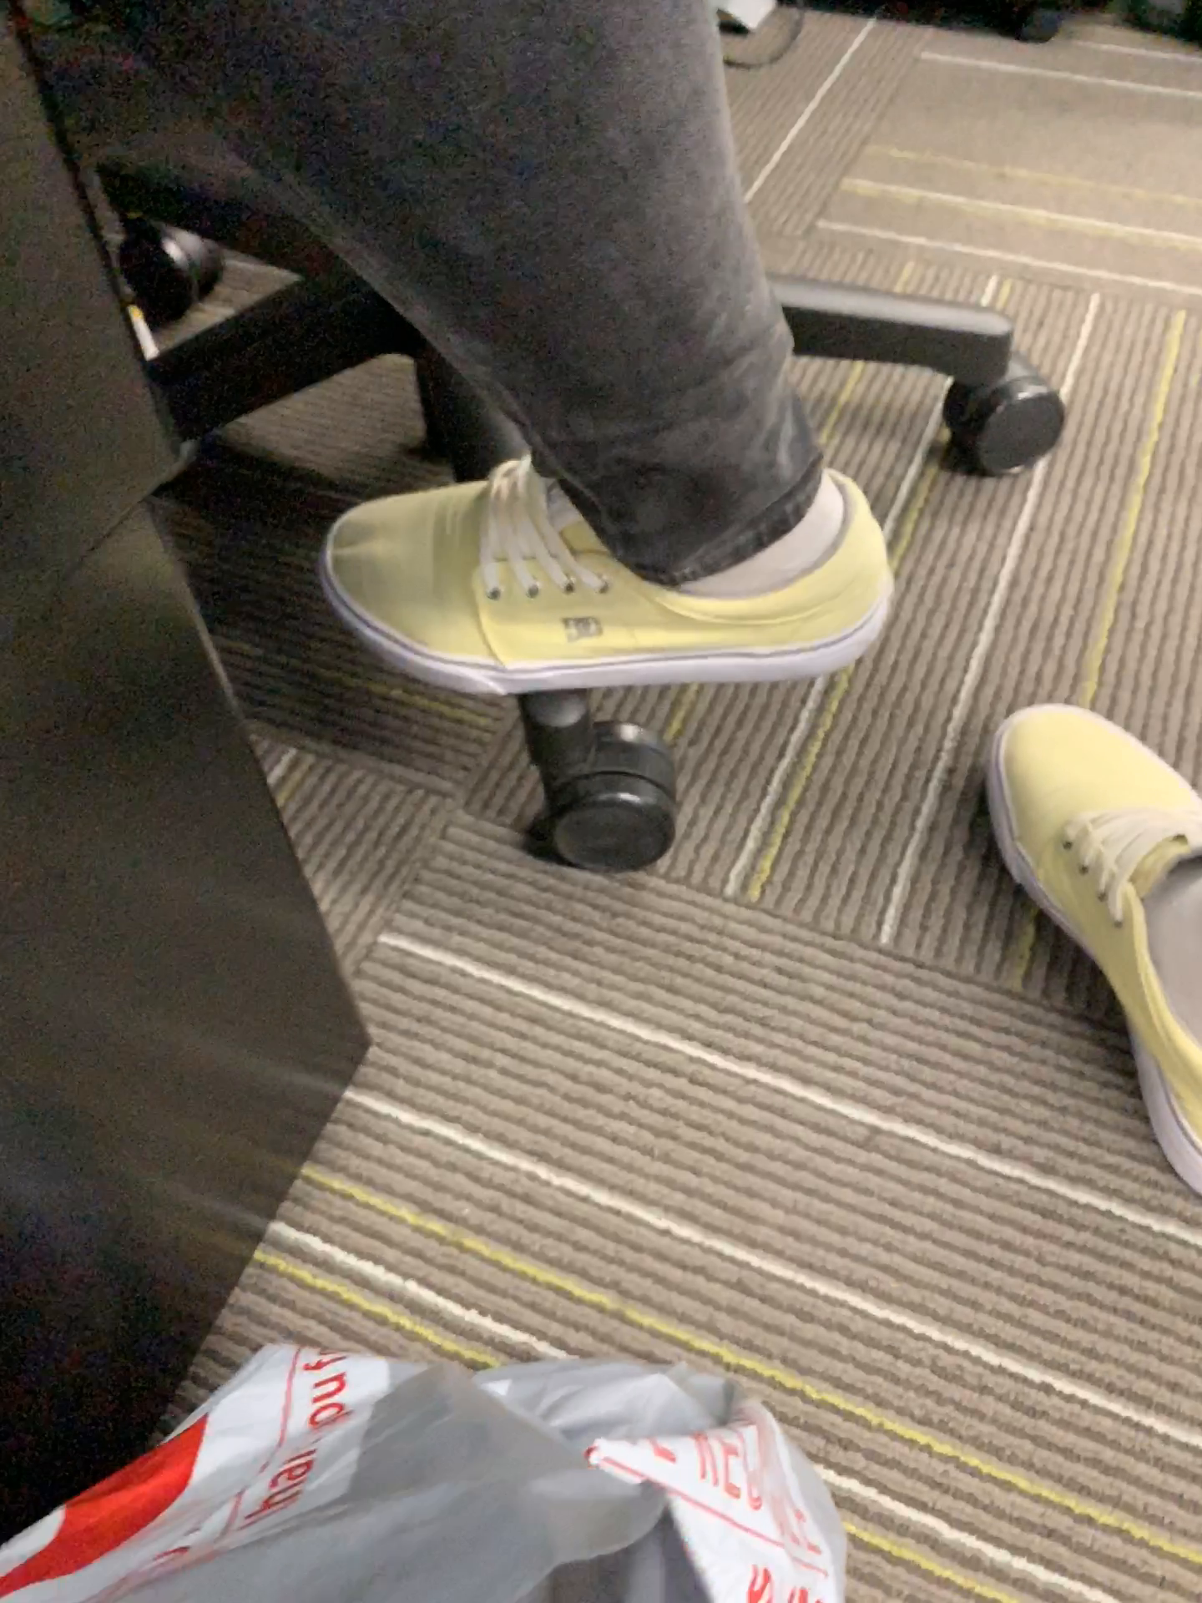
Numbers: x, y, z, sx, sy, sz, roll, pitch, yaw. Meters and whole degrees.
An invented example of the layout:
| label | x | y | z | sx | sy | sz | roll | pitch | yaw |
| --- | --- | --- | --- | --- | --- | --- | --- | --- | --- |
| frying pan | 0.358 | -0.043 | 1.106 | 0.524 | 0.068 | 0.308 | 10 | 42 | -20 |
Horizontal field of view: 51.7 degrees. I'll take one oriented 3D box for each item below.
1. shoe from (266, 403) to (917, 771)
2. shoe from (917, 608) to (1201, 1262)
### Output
| label | x | y | z | sx | sy | sz | roll | pitch | yaw |
| --- | --- | --- | --- | --- | --- | --- | --- | --- | --- |
| shoe | 0.000 | -0.098 | 0.559 | 0.260 | 0.096 | 0.099 | 8 | 53 | 8 |
| shoe | 0.245 | 0.048 | 0.562 | 0.102 | 0.101 | 0.270 | -9 | 52 | -4 |
